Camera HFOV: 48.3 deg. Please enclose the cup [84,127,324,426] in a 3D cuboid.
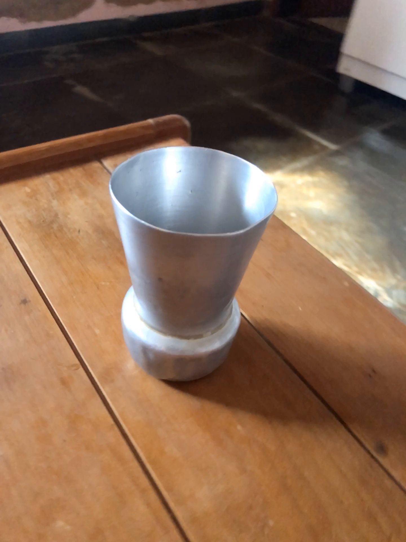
[{"bbox_3d":[-0.005,0.003,0.222,0.070,0.109,0.070,4,43,-4],"label":"cup"}]
